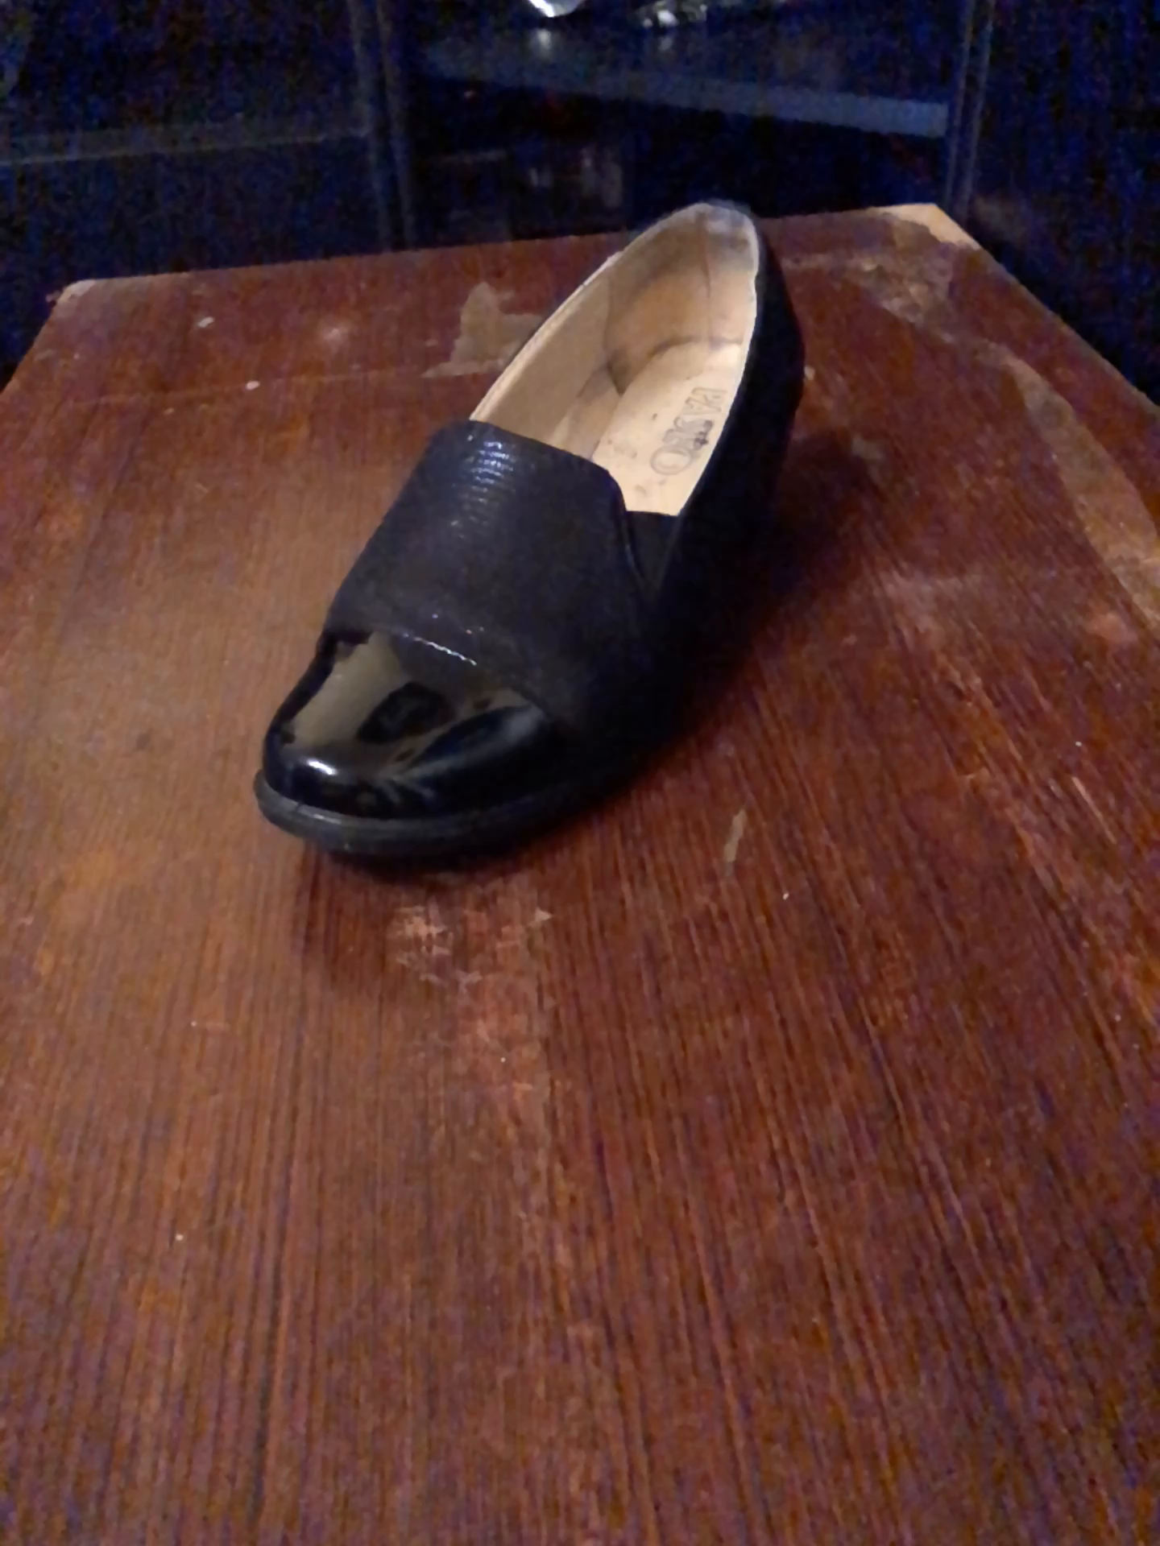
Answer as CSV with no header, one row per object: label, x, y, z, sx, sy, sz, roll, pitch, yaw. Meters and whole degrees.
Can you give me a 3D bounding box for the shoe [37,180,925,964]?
shoe,-0.002,-0.073,0.334,0.089,0.090,0.236,20,44,27
